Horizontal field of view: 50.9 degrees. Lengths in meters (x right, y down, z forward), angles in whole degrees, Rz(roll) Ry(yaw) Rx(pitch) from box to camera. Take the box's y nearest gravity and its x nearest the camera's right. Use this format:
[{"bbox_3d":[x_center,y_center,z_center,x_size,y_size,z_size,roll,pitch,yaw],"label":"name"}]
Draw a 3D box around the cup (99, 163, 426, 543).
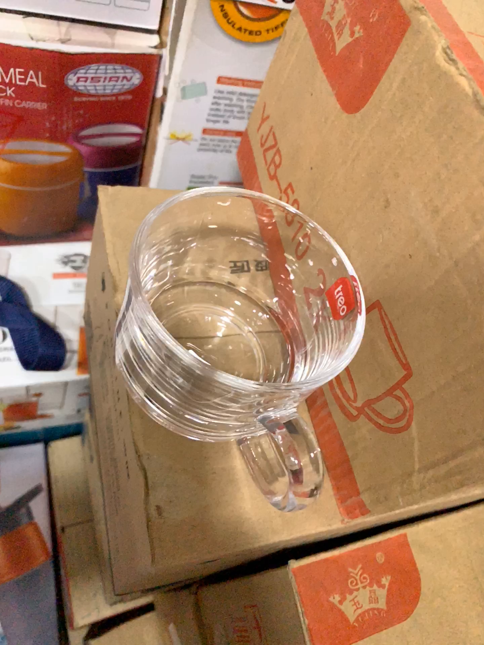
[{"bbox_3d":[-0.004,0.008,0.175,0.072,0.061,0.105,-4,61,-22],"label":"cup"}]
